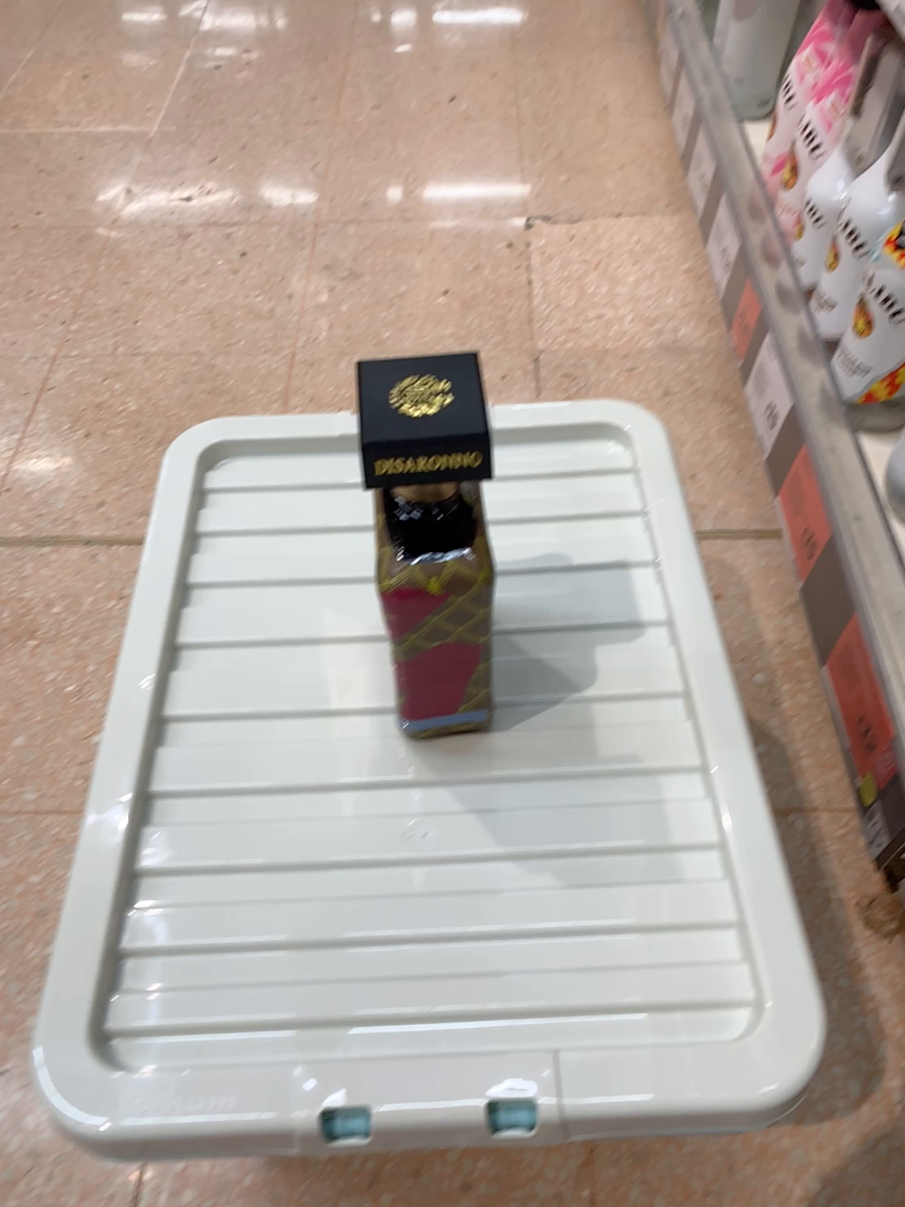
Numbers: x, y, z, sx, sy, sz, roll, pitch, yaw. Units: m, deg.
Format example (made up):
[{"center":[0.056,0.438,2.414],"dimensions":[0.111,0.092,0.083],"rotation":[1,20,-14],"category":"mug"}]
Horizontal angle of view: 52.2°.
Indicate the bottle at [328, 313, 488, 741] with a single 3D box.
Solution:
[{"center":[-0.017,-0.027,0.458],"dimensions":[0.060,0.198,0.101],"rotation":[-4,52,-1],"category":"bottle"}]
